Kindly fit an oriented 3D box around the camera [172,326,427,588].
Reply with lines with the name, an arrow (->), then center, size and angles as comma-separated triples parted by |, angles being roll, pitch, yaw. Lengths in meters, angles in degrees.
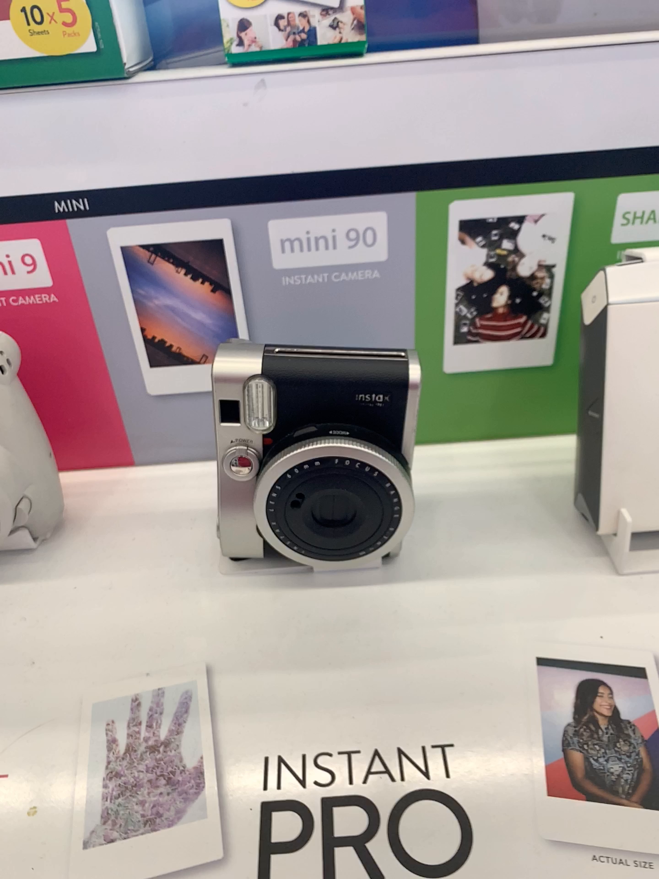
camera -> -0.011, 0.010, 0.319 | 0.100, 0.109, 0.050 | 2, 35, 2
